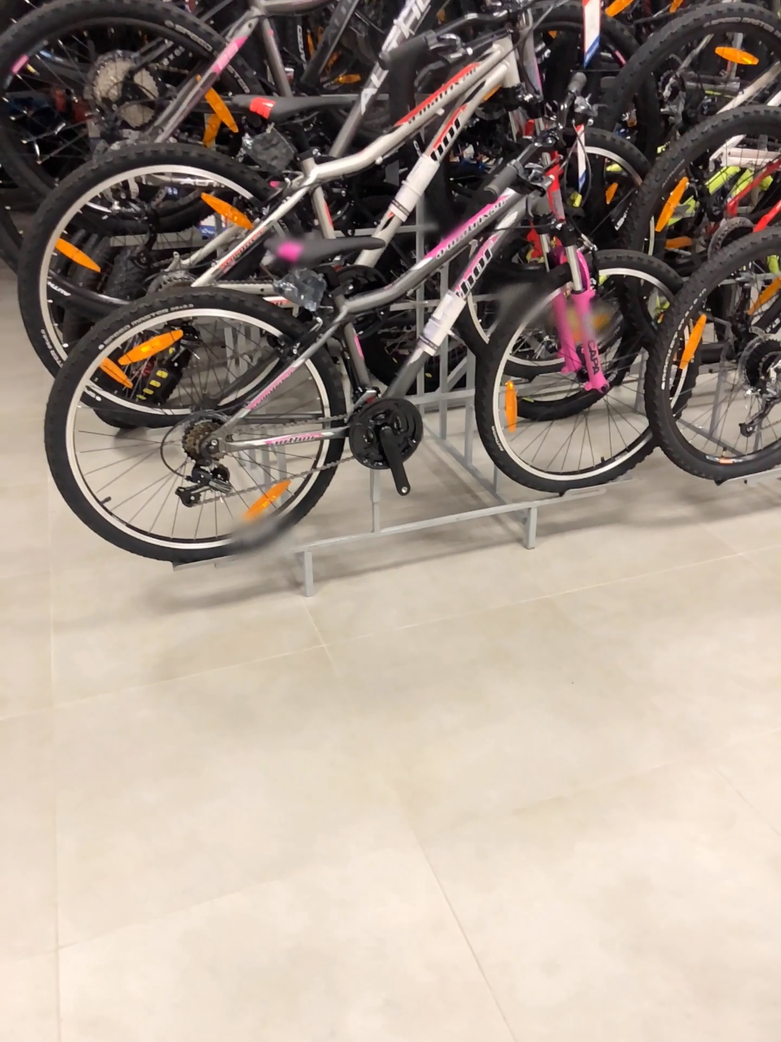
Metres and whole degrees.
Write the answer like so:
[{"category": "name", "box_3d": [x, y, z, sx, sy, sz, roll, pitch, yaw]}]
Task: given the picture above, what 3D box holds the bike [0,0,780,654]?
[{"category": "bike", "box_3d": [0.047, -0.518, 1.906, 1.607, 0.991, 0.600, -13, 30, -16]}]
